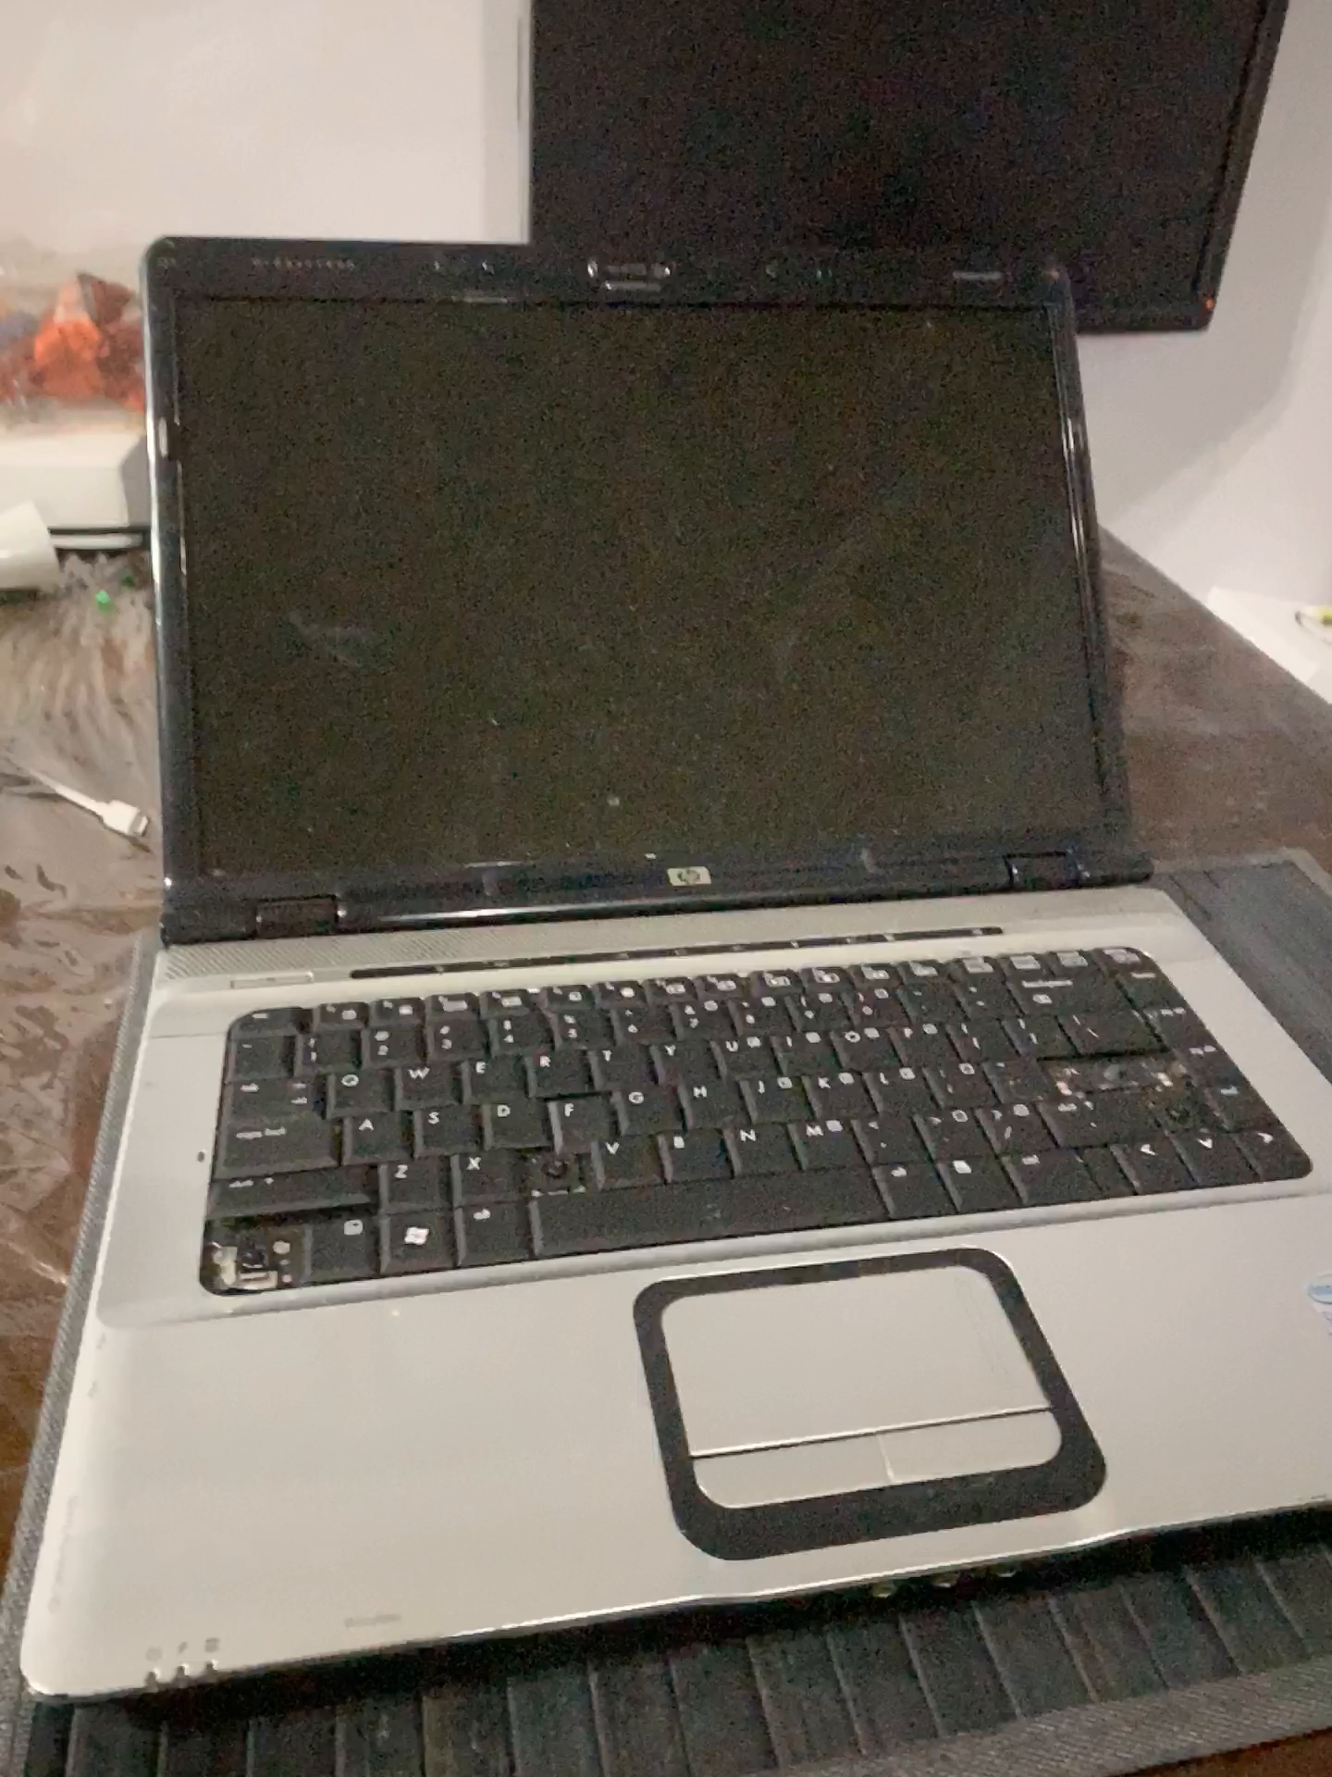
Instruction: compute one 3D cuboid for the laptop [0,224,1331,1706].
[{"bbox_3d":[0.015,-0.054,0.400,0.349,0.186,0.405,-3,34,-11],"label":"laptop"}]
